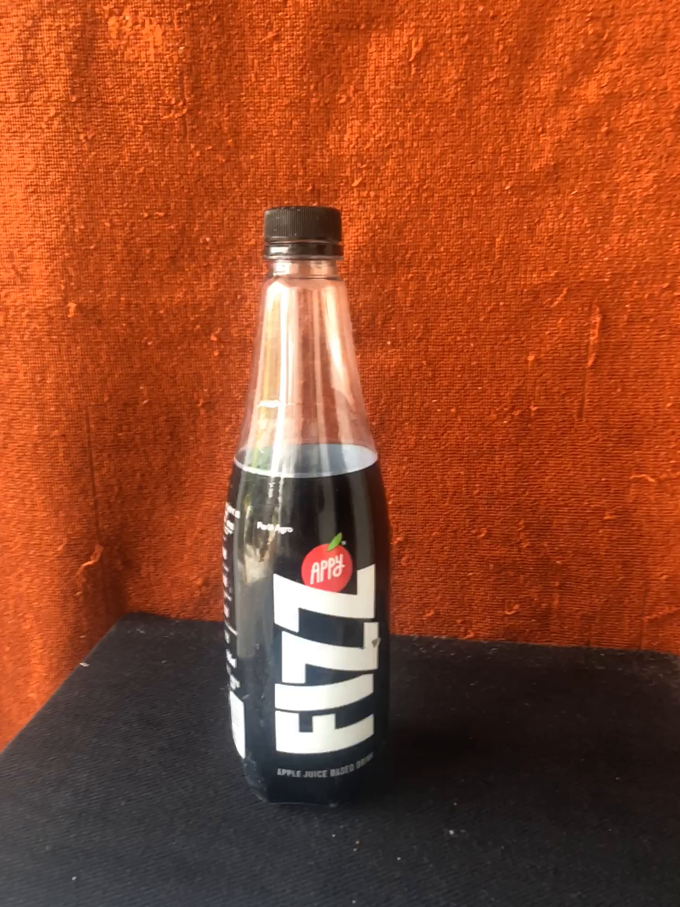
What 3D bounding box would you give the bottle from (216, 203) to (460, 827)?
[{"bbox_3d":[-0.006,0.022,0.287,0.070,0.219,0.060,-3,16,-16],"label":"bottle"}]
